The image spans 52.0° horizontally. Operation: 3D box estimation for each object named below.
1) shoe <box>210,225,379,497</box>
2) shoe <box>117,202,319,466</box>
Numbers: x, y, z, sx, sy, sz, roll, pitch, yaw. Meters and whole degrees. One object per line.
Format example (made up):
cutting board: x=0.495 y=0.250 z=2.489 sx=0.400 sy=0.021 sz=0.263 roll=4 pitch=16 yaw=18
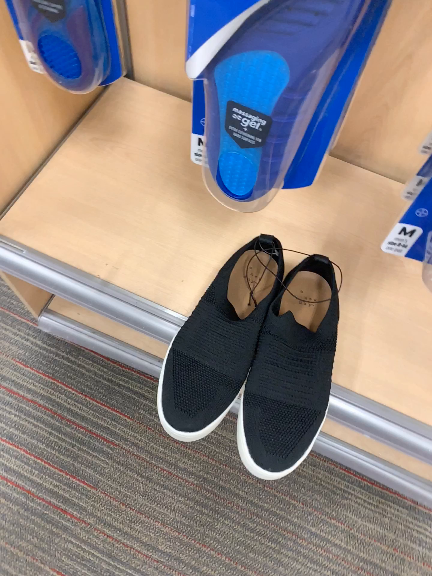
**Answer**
shoe: x=0.091 y=0.078 z=0.503 sx=0.100 sy=0.100 sz=0.271 roll=20 pitch=64 yaw=5
shoe: x=0.009 y=0.048 z=0.509 sx=0.100 sy=0.100 sz=0.270 roll=26 pitch=65 yaw=8
